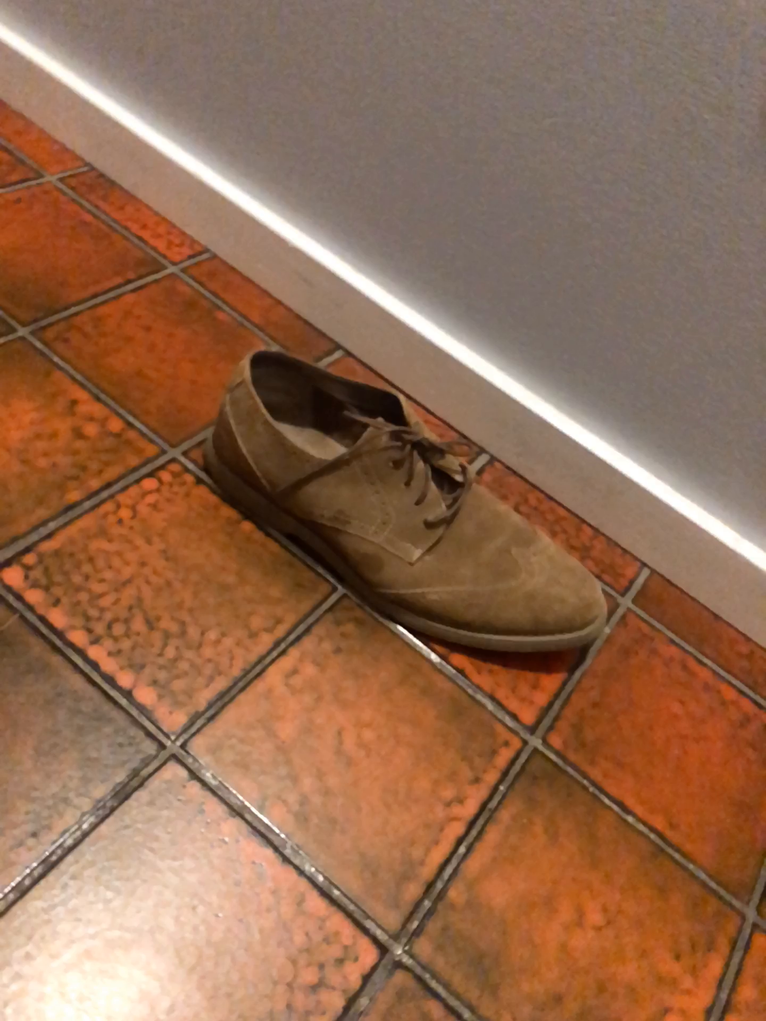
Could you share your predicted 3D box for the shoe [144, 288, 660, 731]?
[{"bbox_3d":[0.008,-0.007,0.555,0.300,0.100,0.120,32,46,7],"label":"shoe"}]
